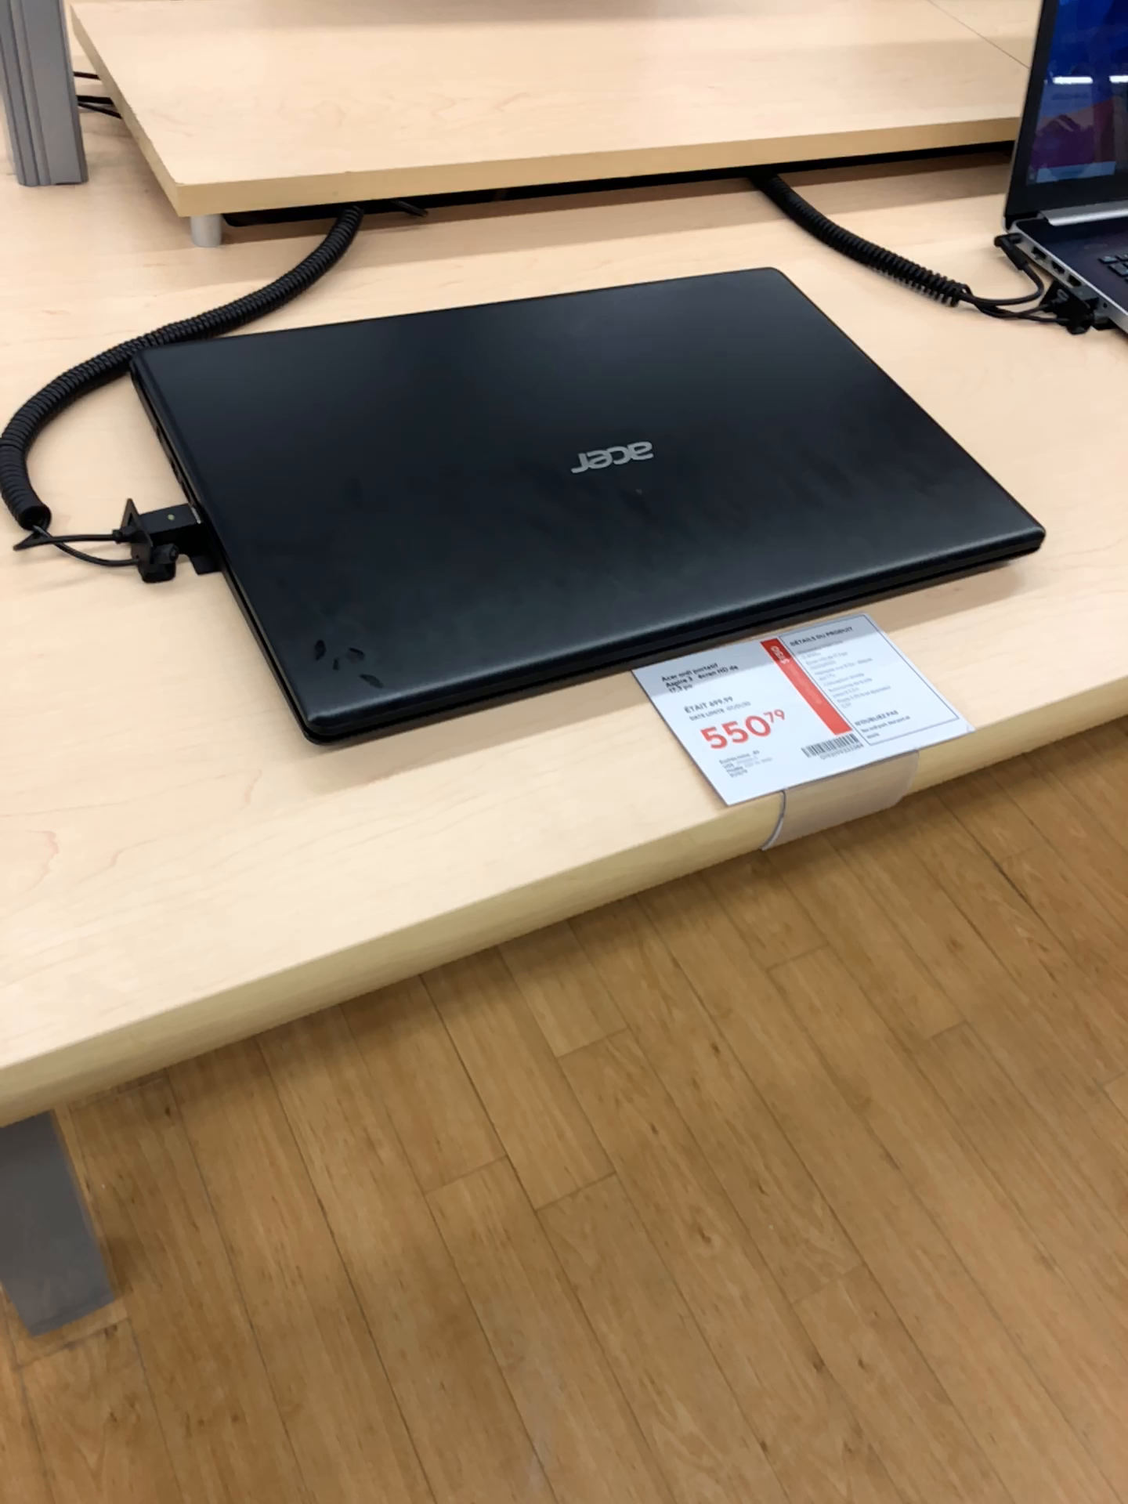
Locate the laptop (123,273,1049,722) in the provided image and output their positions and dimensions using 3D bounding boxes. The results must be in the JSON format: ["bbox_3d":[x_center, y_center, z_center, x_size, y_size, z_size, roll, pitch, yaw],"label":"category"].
[{"bbox_3d":[0.016,-0.162,0.659,0.417,0.001,0.267,-16,55,-23],"label":"laptop"}]
